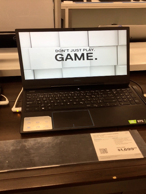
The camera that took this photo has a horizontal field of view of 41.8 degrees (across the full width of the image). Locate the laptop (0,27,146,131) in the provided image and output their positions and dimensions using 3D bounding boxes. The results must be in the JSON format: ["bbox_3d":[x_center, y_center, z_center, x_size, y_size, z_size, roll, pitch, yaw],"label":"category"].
[{"bbox_3d":[0.022,-0.069,0.560,0.363,0.175,0.297,-4,39,-2],"label":"laptop"}]
